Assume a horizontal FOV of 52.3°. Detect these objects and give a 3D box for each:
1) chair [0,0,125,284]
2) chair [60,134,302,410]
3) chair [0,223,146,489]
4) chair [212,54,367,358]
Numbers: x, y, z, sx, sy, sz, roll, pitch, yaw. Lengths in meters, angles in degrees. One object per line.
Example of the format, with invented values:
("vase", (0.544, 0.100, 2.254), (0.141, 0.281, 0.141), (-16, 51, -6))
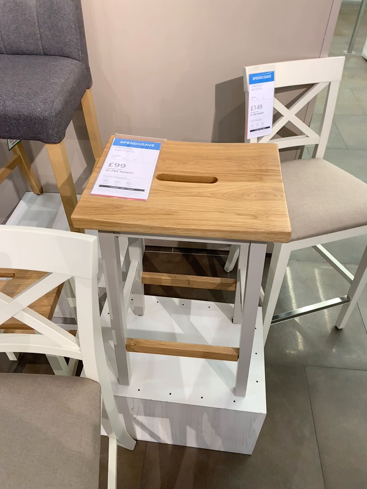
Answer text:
("chair", (-0.520, -0.417, 1.197), (0.467, 0.984, 0.536), (3, 43, 3))
("chair", (0.005, 0.102, 0.947), (0.397, 0.638, 0.324), (4, 43, 4))
("chair", (-0.338, 0.489, 0.759), (0.437, 0.955, 0.506), (-1, 43, -1))
("chair", (0.422, -0.104, 1.392), (0.417, 0.945, 0.515), (-12, 45, -13))
